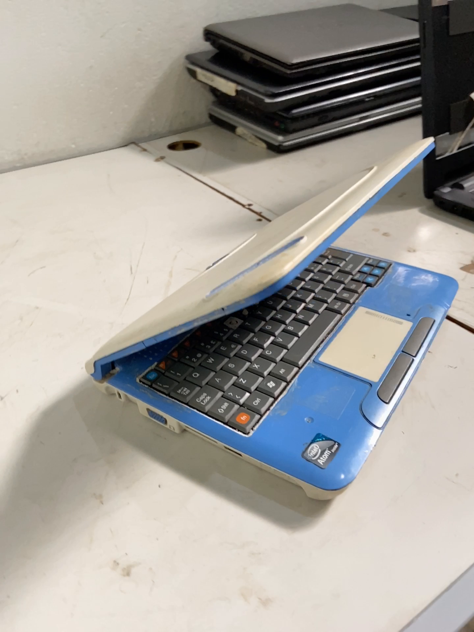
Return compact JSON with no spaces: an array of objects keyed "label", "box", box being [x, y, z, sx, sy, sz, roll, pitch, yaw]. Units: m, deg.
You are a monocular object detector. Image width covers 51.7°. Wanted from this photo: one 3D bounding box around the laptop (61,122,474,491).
[{"label":"laptop","box":[0.046,-0.041,0.357,0.182,0.116,0.248,20,43,30]}]
